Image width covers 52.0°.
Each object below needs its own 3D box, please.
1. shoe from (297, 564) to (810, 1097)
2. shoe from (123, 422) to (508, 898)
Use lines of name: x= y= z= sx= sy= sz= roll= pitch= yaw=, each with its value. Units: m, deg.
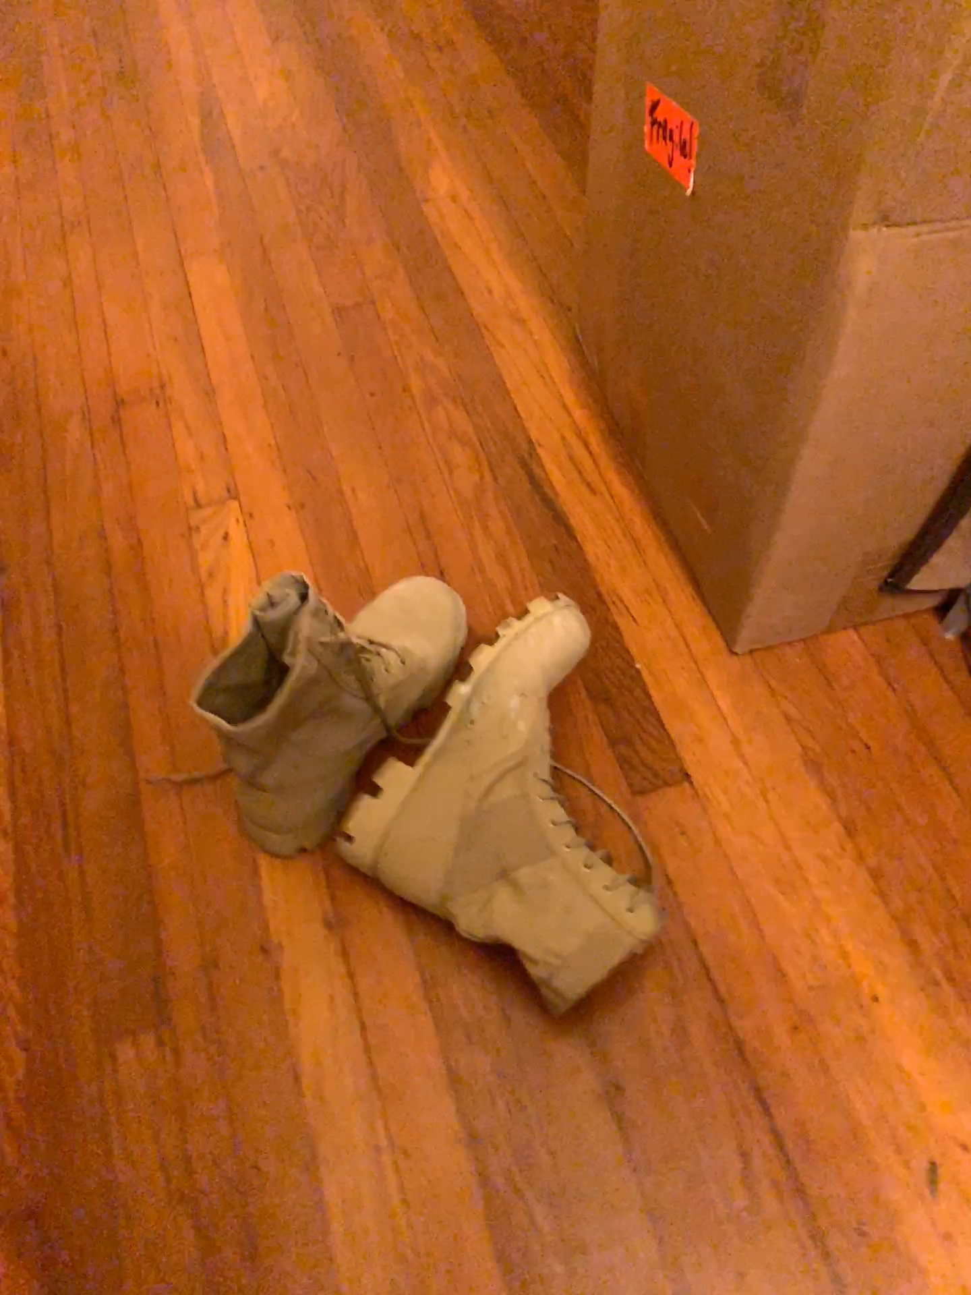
shoe: x=0.055 y=0.128 z=0.762 sx=0.260 sy=0.110 sz=0.291 roll=31 pitch=63 yaw=12
shoe: x=-0.107 y=0.010 z=0.774 sx=0.120 sy=0.199 sz=0.291 roll=26 pitch=62 yaw=16
